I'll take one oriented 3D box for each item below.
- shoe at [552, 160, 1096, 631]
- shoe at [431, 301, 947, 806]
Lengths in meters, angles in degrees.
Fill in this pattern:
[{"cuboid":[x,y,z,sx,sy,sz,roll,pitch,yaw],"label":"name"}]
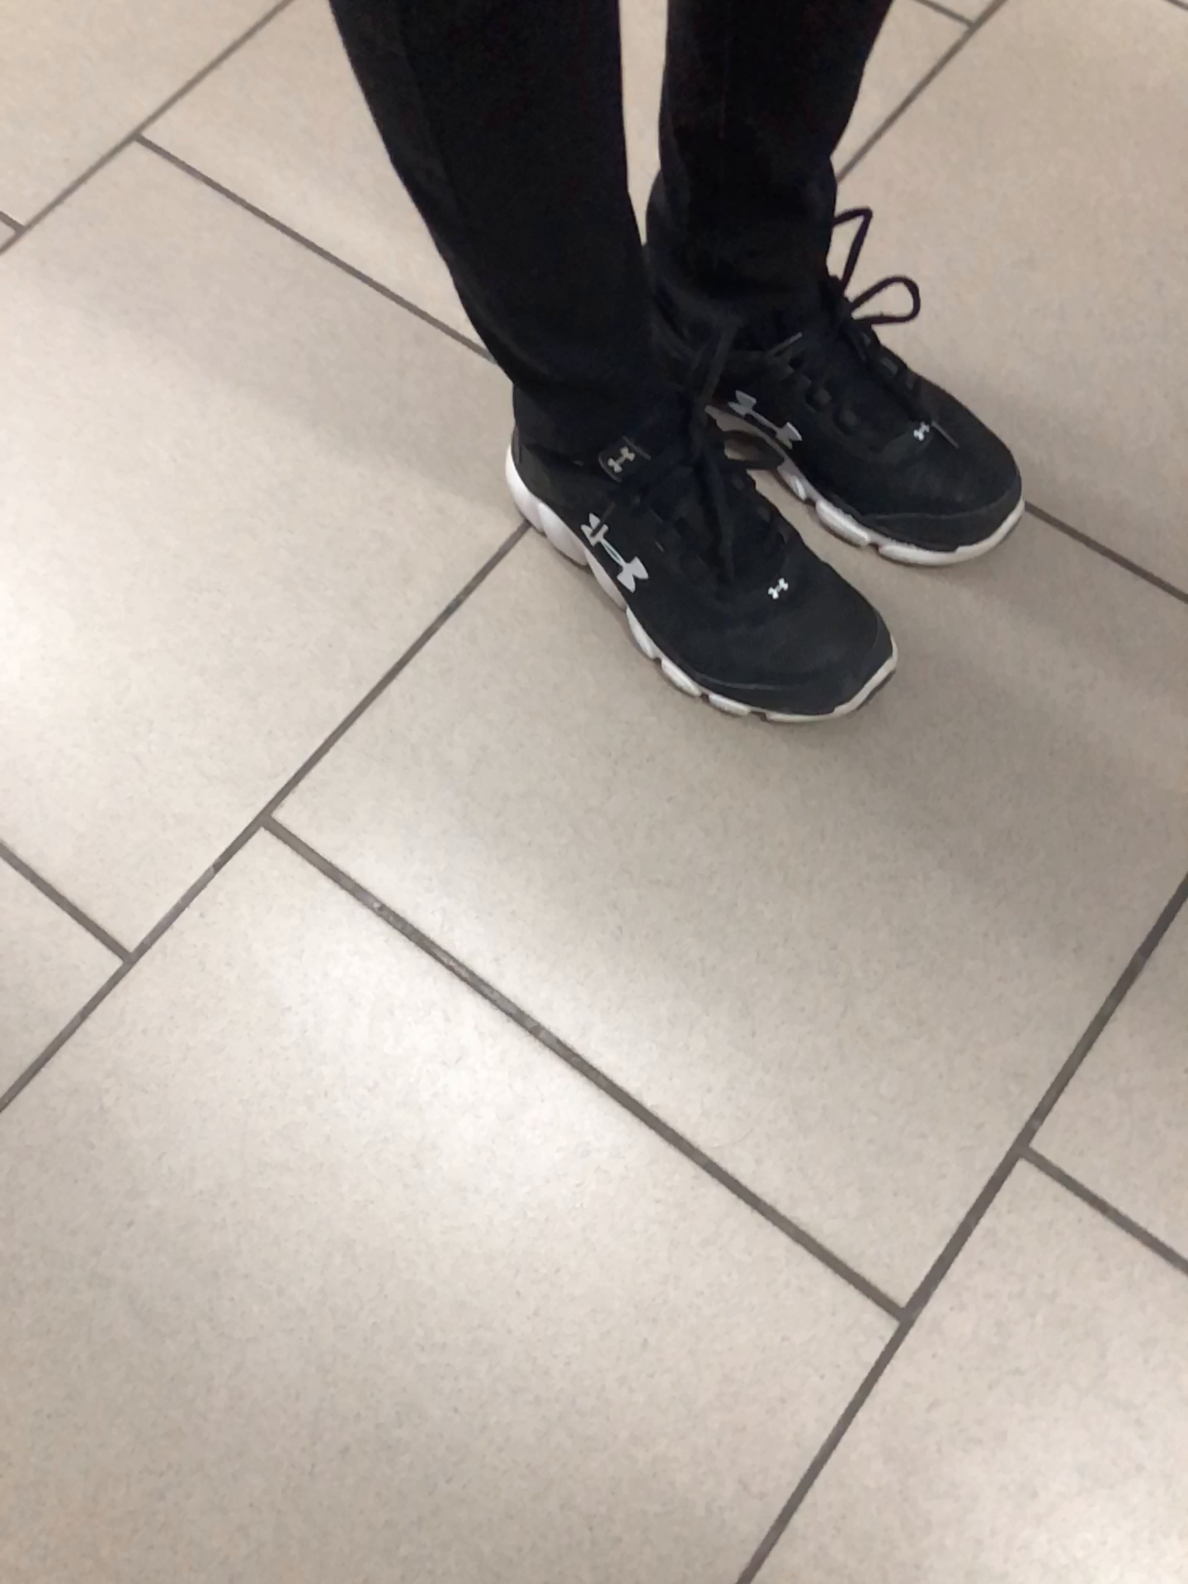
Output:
[{"cuboid":[0.119,-0.223,0.727,0.270,0.090,0.110,36,75,15],"label":"shoe"},{"cuboid":[0.045,-0.131,0.705,0.110,0.090,0.260,-42,73,-13],"label":"shoe"}]
